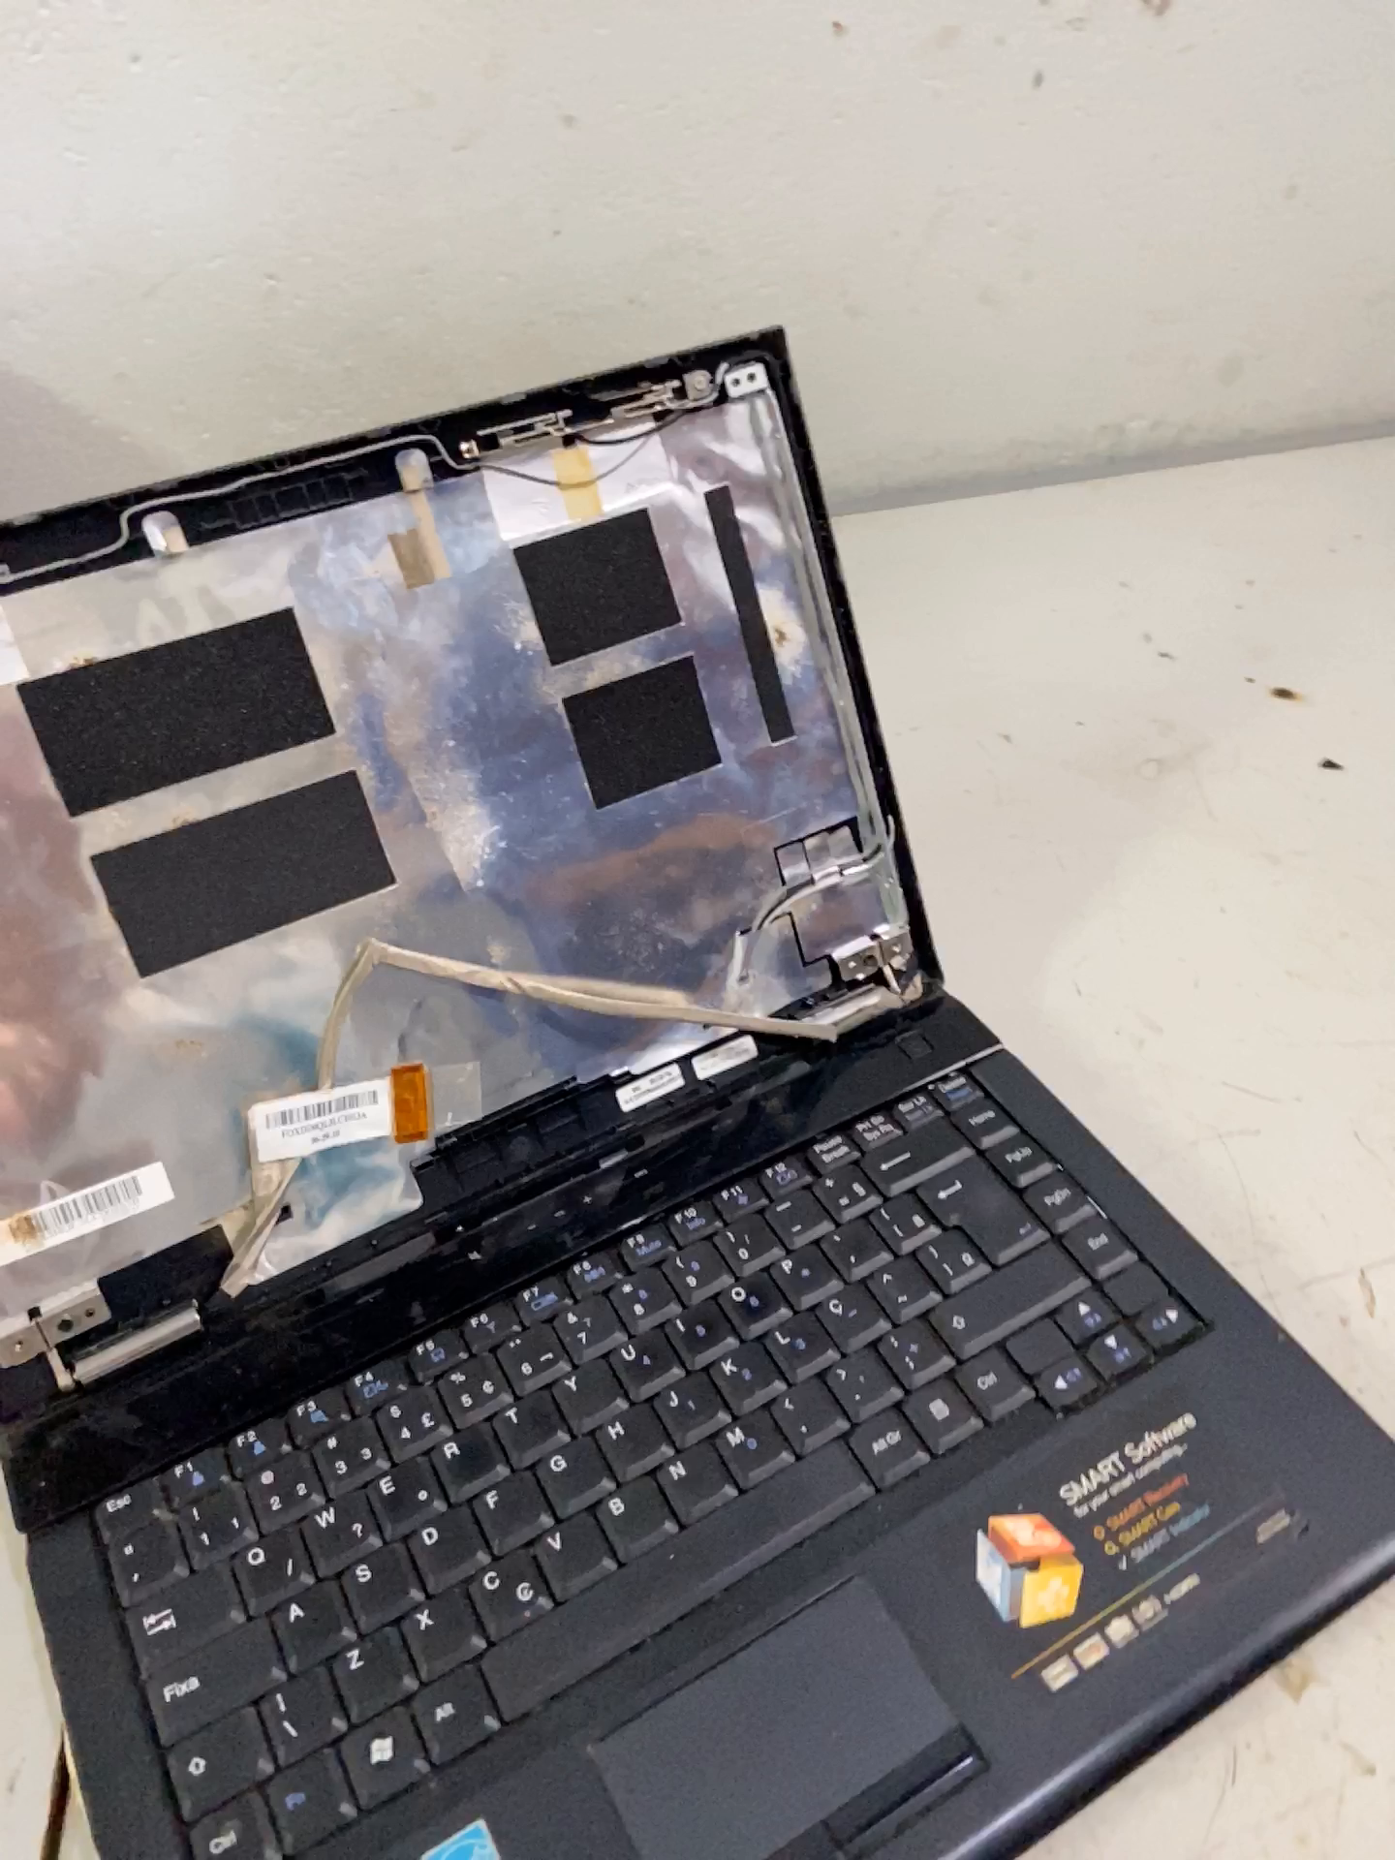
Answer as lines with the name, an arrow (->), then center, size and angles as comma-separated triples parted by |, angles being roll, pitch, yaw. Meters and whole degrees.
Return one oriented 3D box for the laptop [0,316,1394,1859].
laptop -> -0.028, 0.043, 0.362 | 0.333, 0.206, 0.336 | -23, 47, -19
